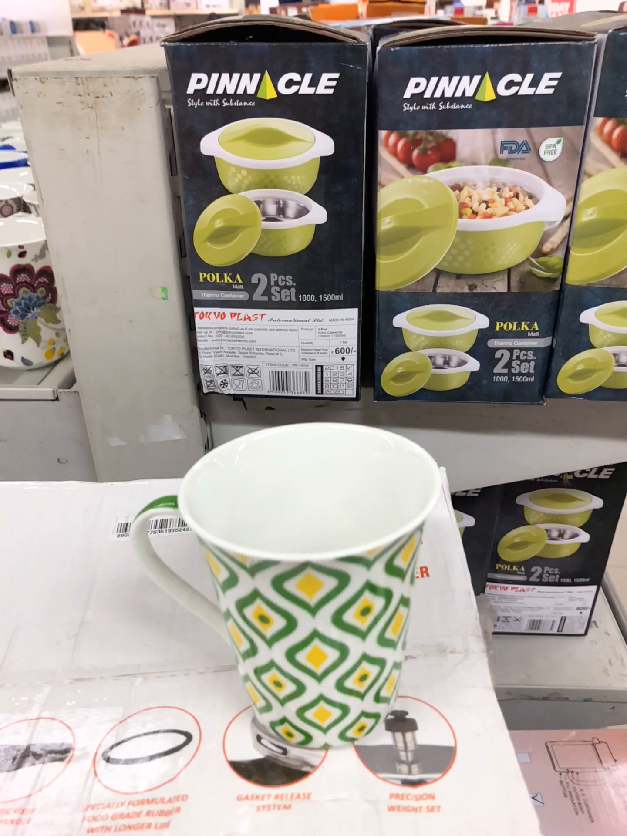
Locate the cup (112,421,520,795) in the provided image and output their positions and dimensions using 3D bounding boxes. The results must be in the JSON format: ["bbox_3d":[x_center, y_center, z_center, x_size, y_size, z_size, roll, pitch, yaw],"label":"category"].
[{"bbox_3d":[0.002,0.061,0.246,0.110,0.090,0.090,-1,24,1],"label":"cup"}]
